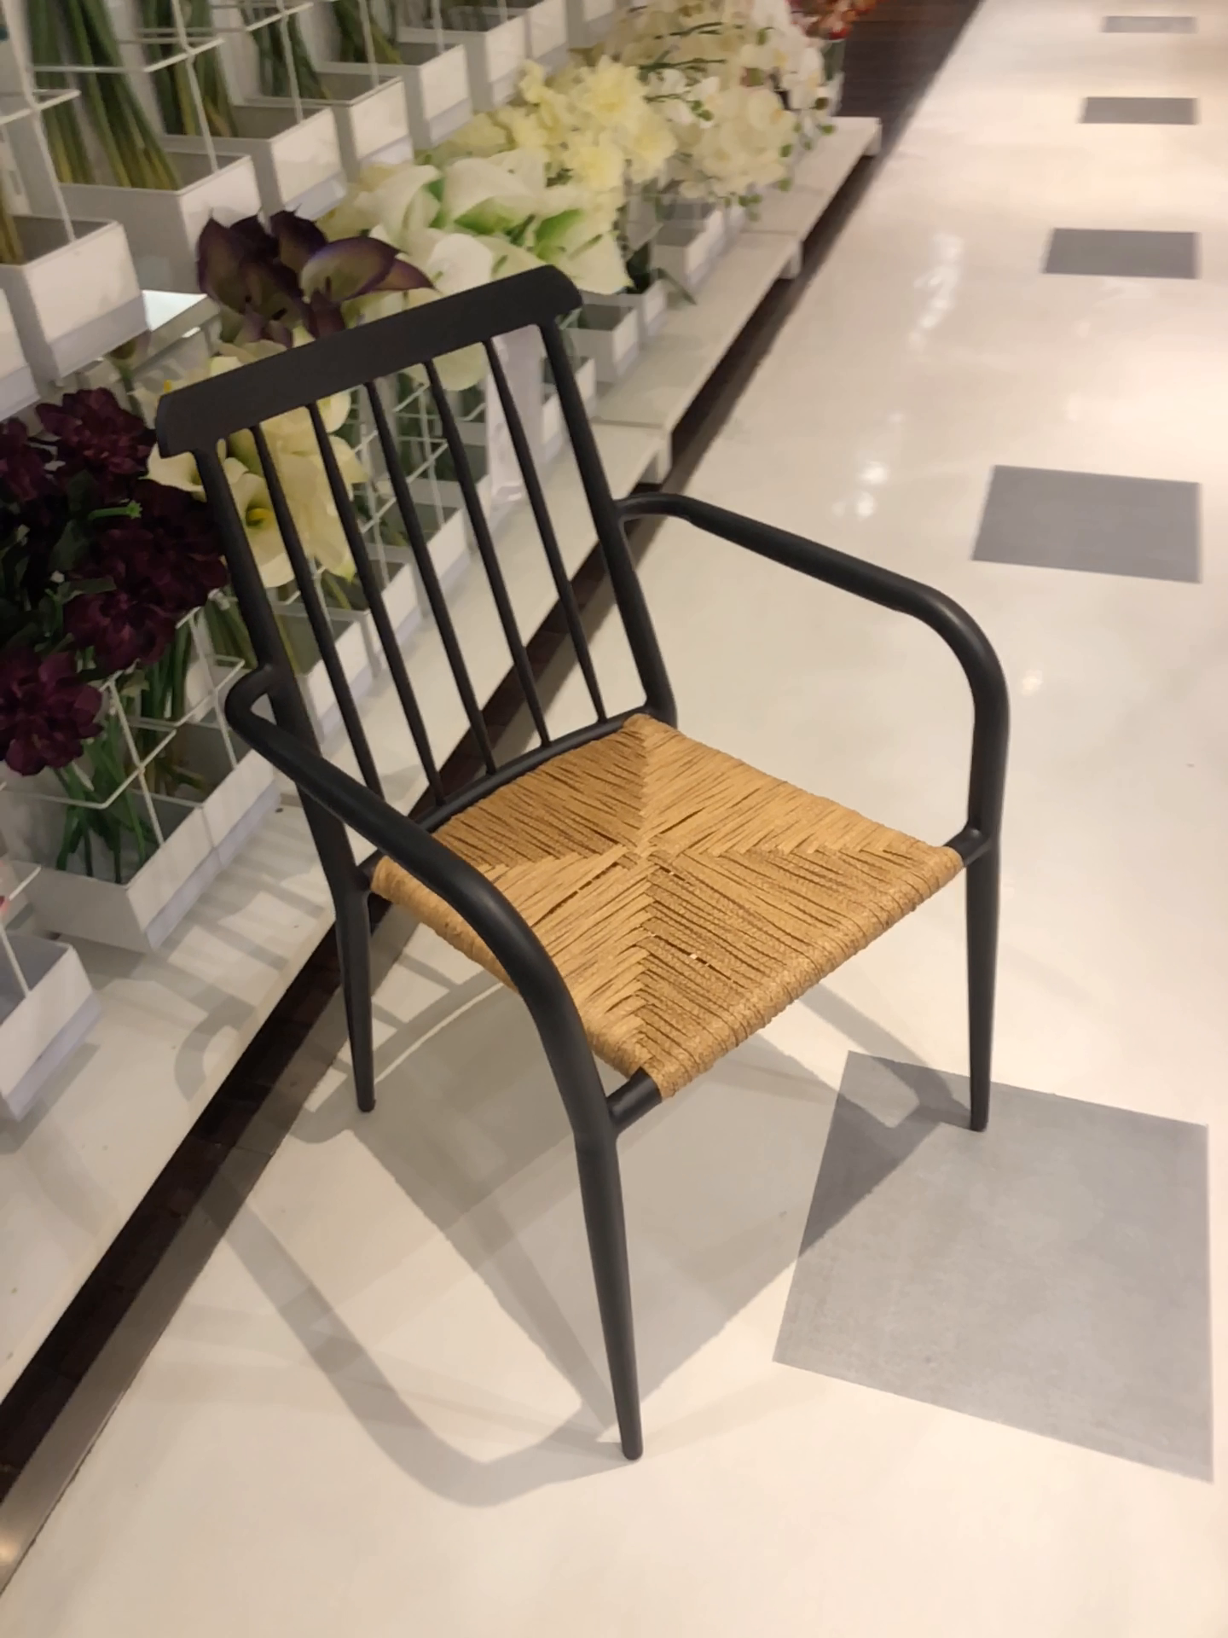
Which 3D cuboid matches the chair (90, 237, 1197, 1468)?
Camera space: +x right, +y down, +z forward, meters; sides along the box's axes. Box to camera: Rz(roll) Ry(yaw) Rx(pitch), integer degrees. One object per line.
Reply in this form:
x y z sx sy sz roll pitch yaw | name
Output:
0.026 -0.004 1.200 0.542 0.754 0.582 -31 46 -29 | chair
